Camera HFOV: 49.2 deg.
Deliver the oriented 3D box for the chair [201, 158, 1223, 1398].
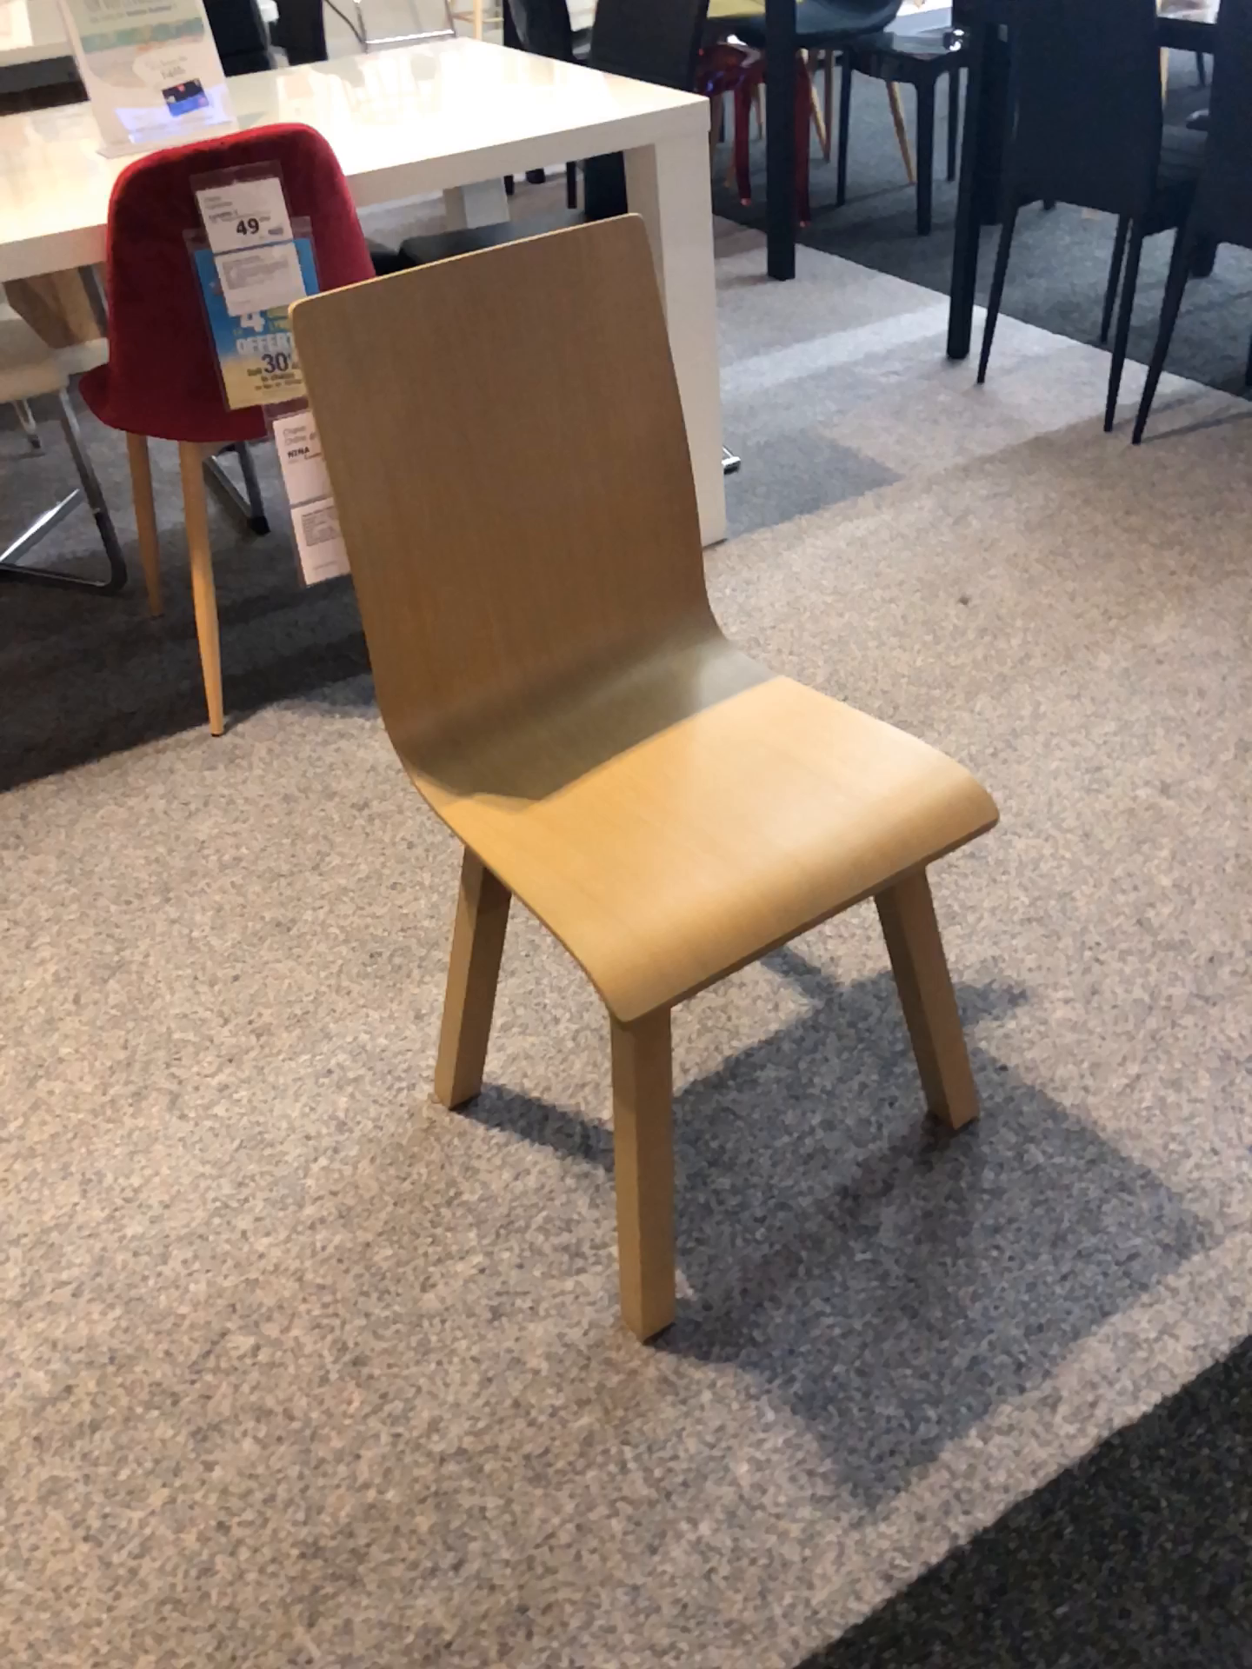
[{"bbox_3d":[0.070,-0.058,1.211,0.522,0.835,0.491,-26,43,-25],"label":"chair"}]
